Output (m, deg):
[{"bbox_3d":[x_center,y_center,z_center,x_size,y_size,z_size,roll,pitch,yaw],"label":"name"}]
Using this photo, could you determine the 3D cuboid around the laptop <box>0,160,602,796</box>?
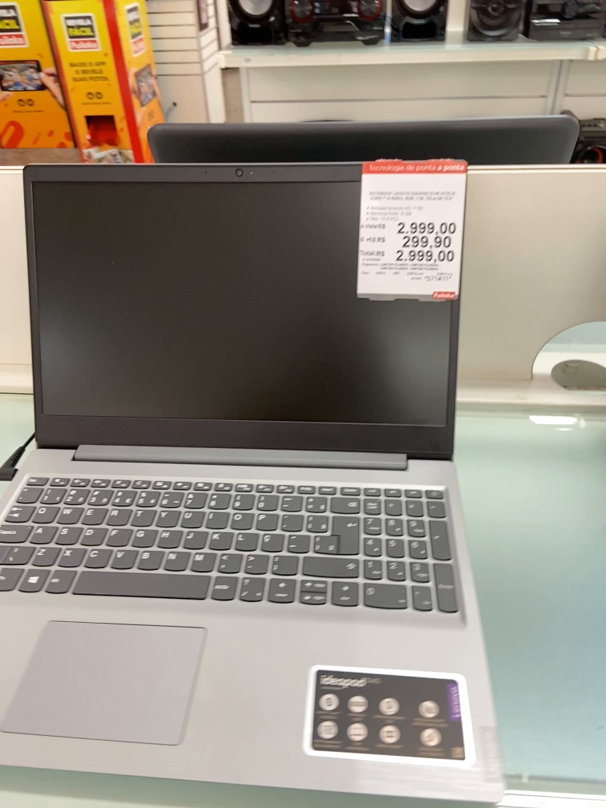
[{"bbox_3d":[-0.065,-0.001,0.412,0.353,0.195,0.371,1,39,5],"label":"laptop"}]
